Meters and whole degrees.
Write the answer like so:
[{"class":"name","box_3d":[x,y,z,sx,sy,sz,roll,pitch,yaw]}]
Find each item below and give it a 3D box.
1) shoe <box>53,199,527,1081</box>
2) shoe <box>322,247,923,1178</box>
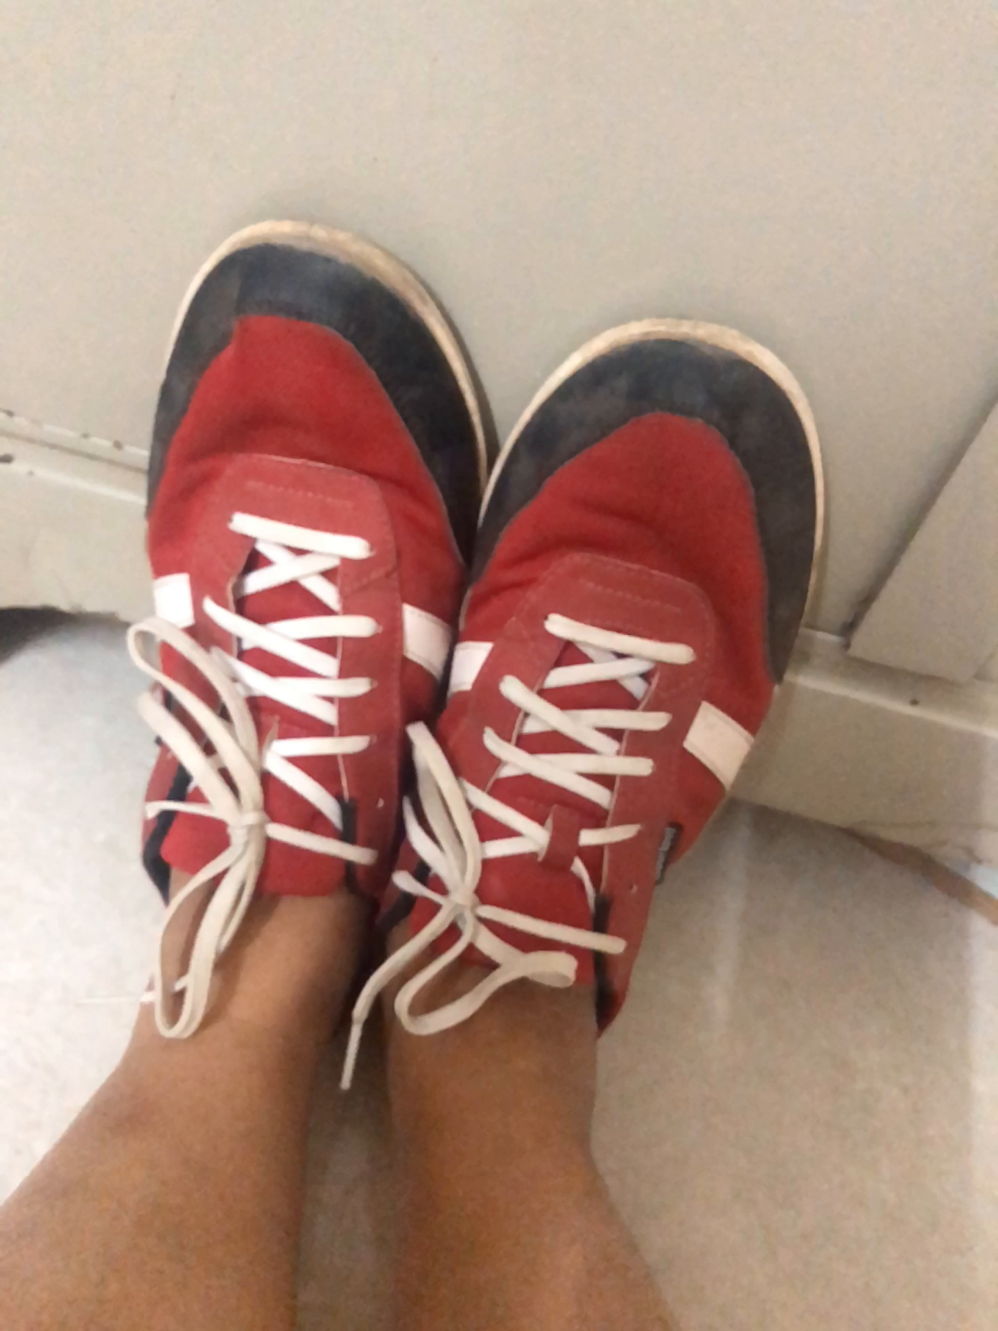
[{"class":"shoe","box_3d":[-0.057,-0.003,0.317,0.100,0.229,0.080,3,21,-7]},{"class":"shoe","box_3d":[0.025,0.016,0.335,0.100,0.249,0.080,14,20,1]}]
